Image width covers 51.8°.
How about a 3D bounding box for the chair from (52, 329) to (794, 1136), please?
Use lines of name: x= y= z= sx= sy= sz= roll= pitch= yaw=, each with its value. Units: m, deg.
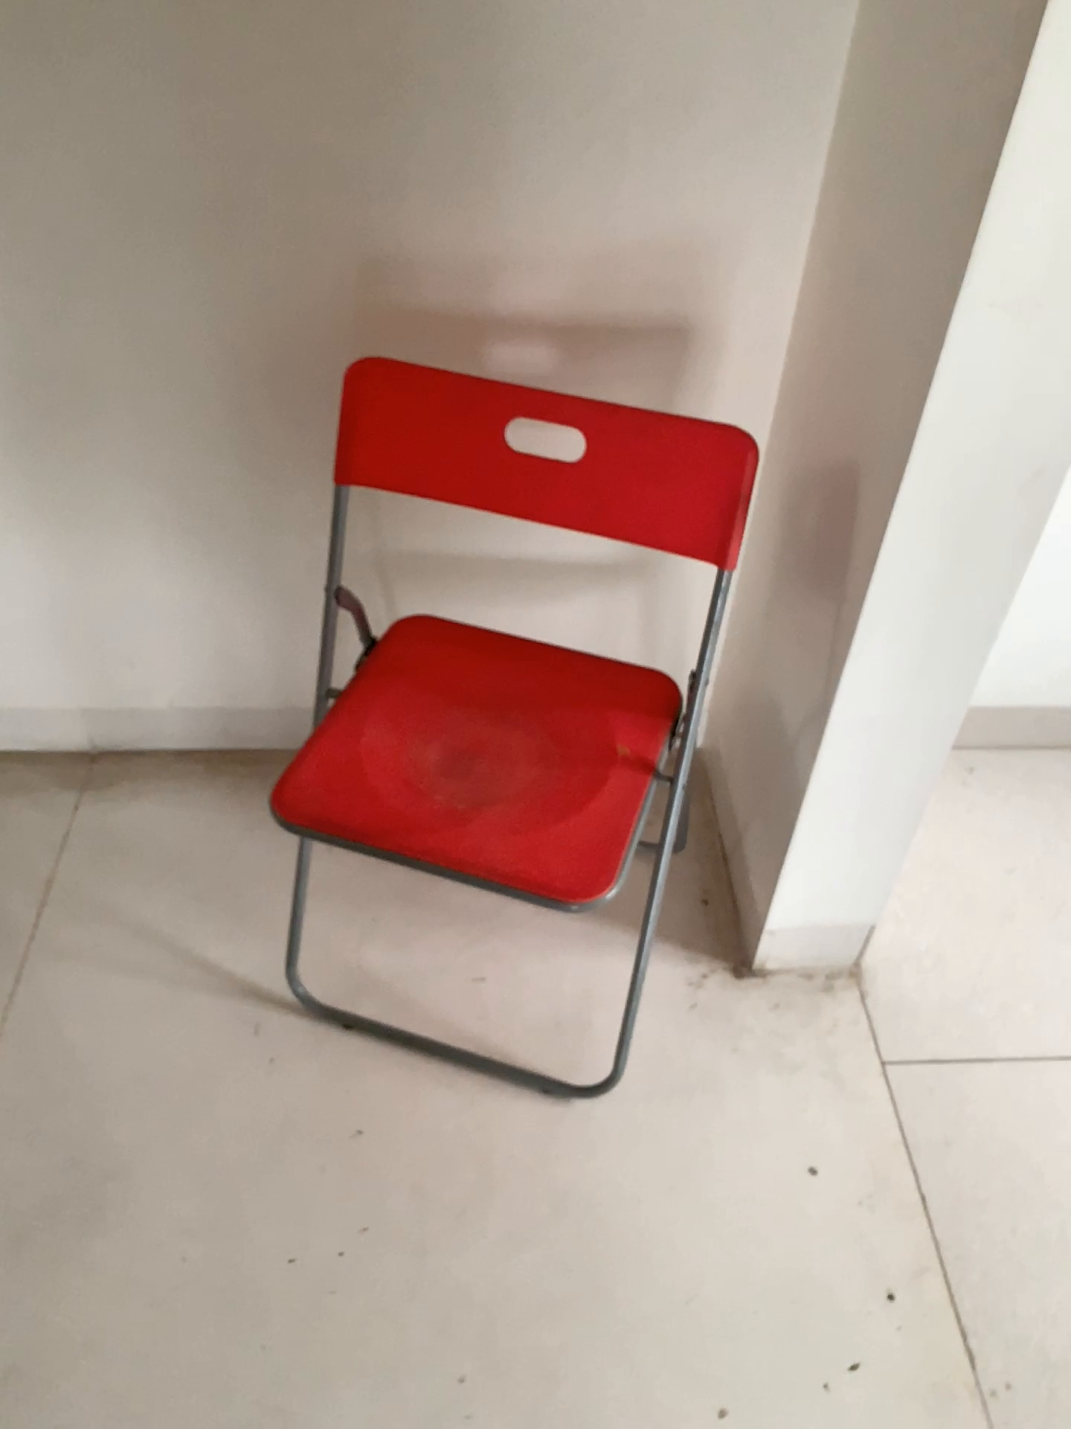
chair: x=-0.074 y=0.013 z=1.219 sx=0.530 sy=0.607 sz=0.502 roll=14 pitch=44 yaw=11
